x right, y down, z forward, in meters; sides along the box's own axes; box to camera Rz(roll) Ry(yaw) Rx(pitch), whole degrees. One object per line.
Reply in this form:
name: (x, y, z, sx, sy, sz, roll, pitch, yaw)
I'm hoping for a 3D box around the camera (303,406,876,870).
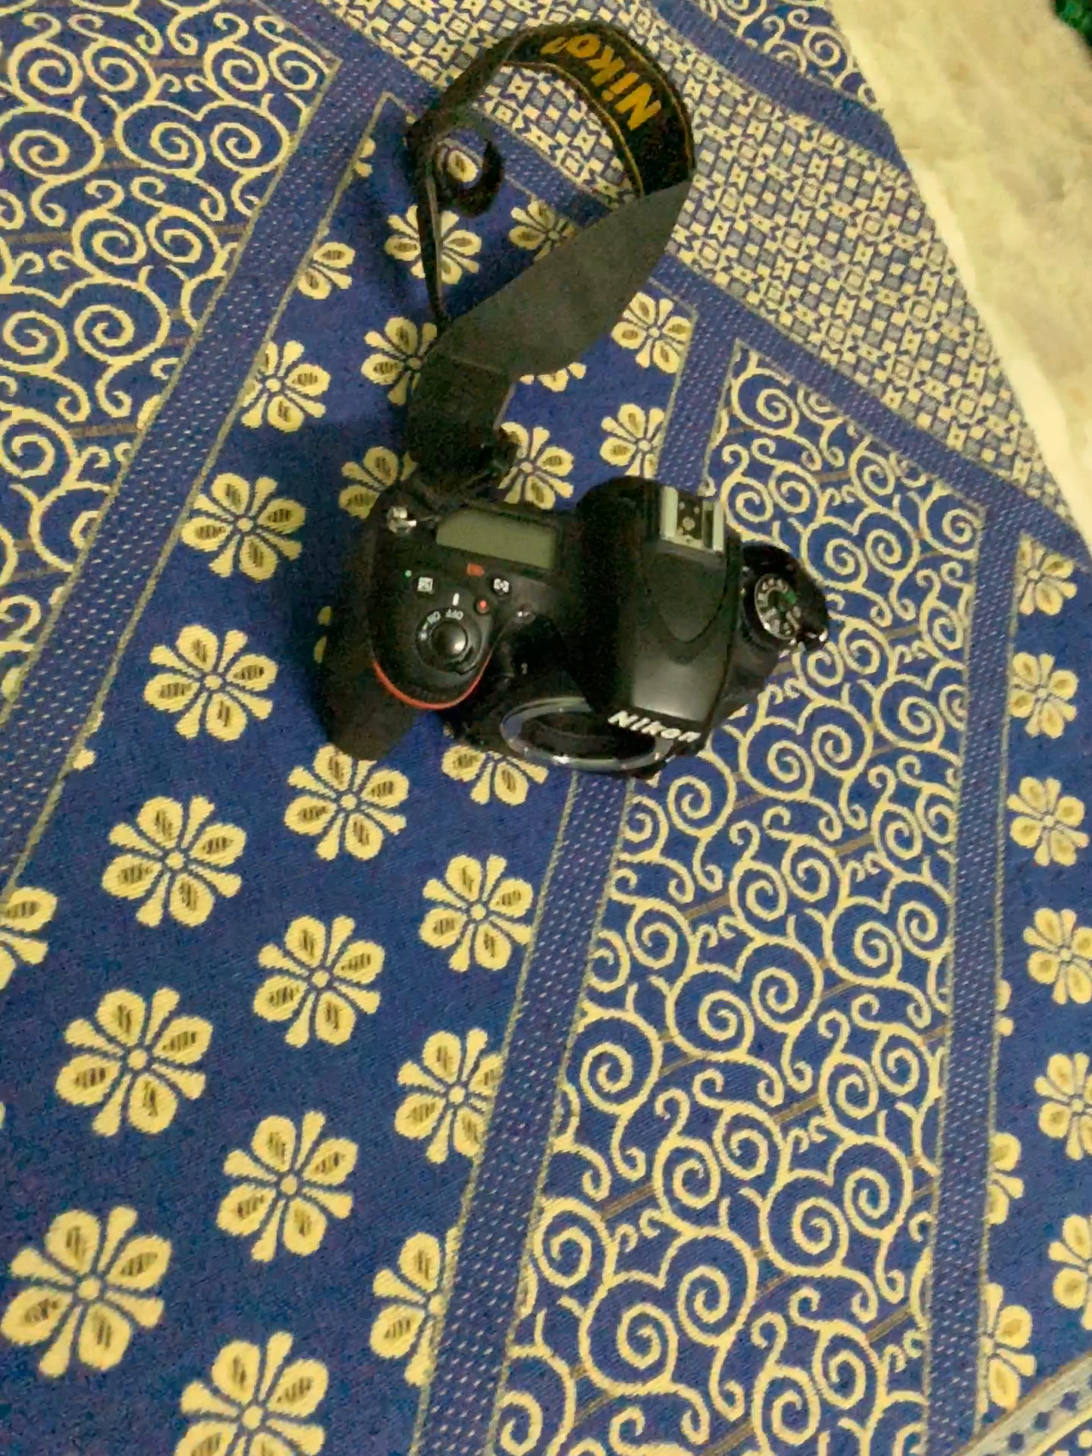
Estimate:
camera: (0.012, -0.019, 0.354, 0.150, 0.090, 0.088, 12, 68, -19)
